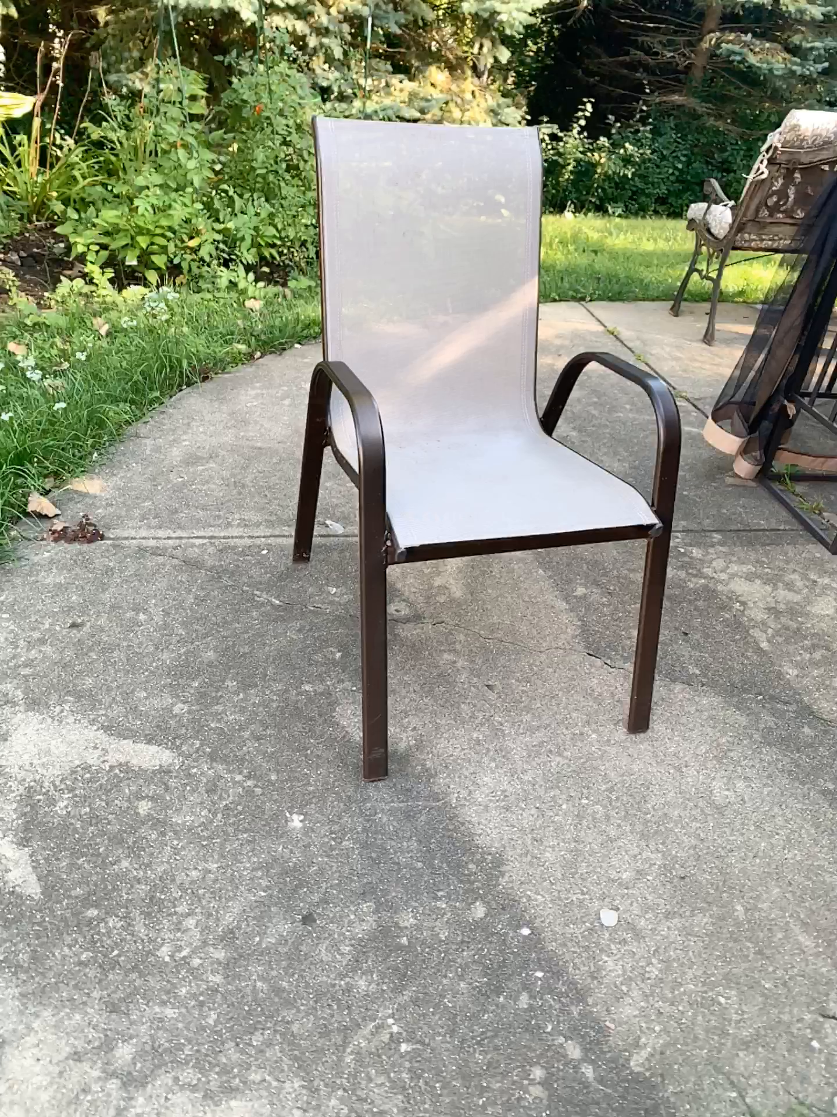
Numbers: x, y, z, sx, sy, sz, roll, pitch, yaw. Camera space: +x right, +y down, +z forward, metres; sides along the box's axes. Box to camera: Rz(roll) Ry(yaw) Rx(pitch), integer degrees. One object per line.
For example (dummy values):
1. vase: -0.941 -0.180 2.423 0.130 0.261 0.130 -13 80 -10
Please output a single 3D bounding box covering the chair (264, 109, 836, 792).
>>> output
1. chair: 0.084 -0.227 1.452 0.570 0.845 0.744 -5 34 -17
